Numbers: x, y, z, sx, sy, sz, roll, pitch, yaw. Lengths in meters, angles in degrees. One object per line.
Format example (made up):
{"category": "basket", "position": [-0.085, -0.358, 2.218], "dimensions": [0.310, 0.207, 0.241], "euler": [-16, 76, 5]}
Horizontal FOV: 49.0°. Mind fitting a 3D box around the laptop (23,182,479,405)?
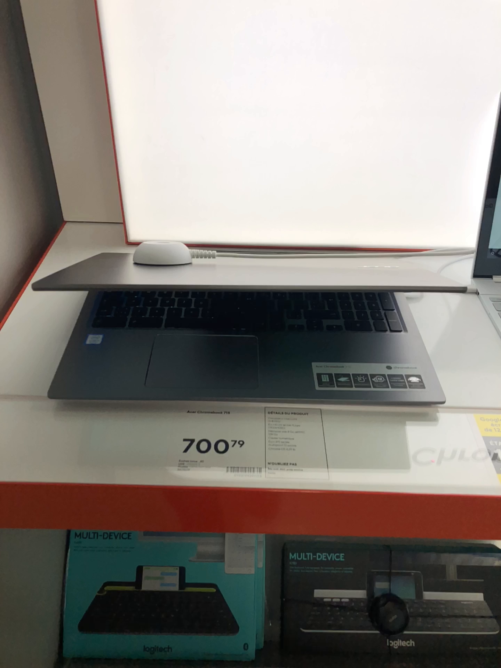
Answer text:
{"category": "laptop", "position": [0.000, -0.053, 0.555], "dimensions": [0.356, 0.105, 0.237], "euler": [1, 37, -1]}
